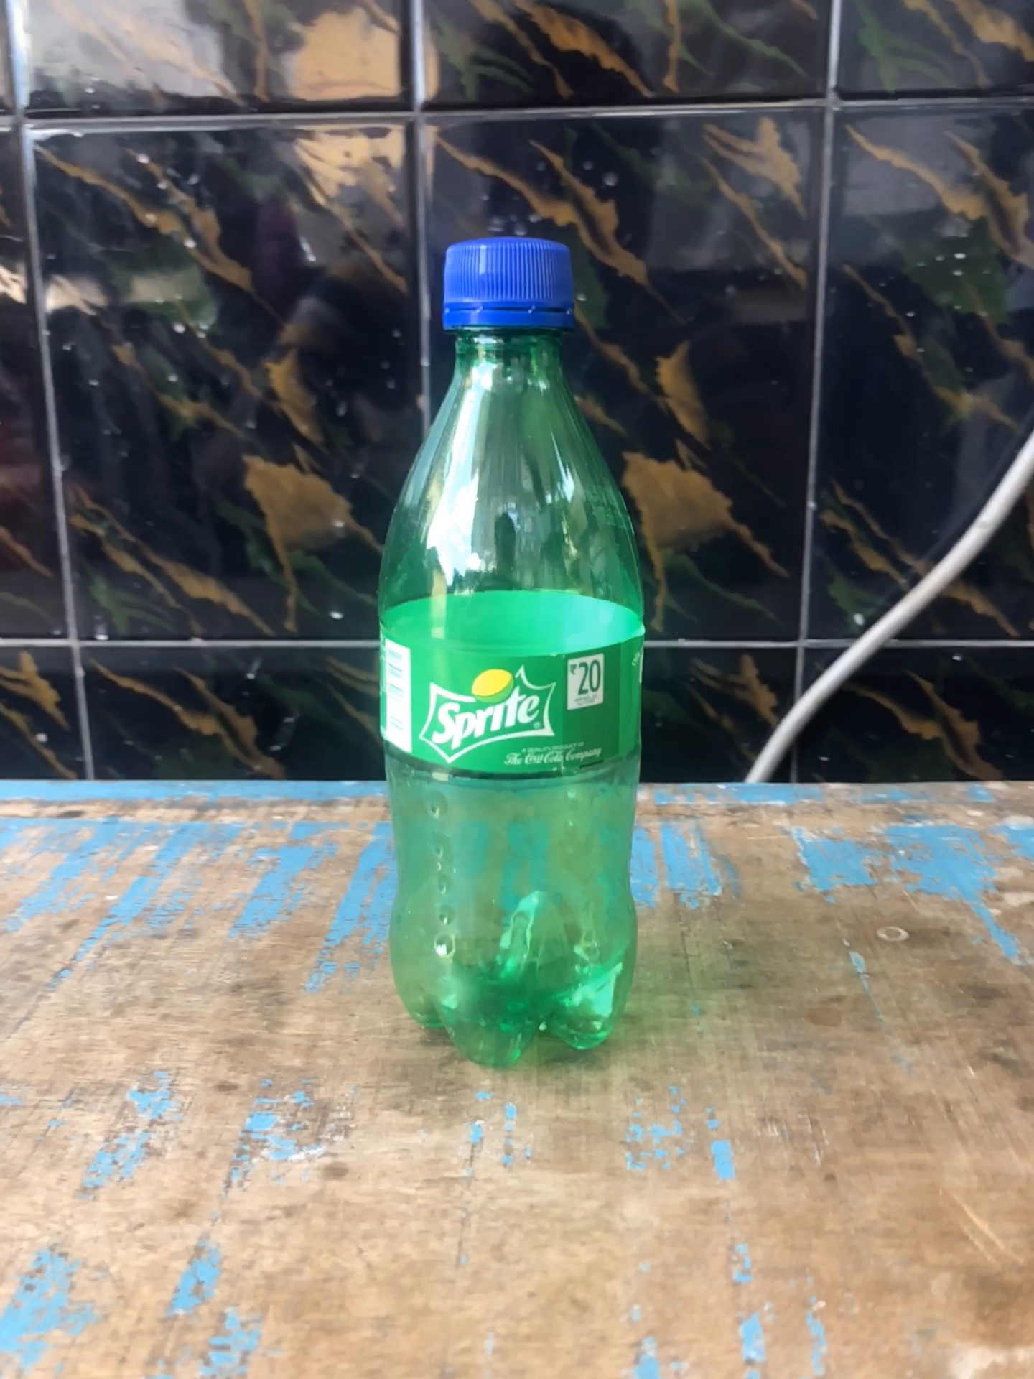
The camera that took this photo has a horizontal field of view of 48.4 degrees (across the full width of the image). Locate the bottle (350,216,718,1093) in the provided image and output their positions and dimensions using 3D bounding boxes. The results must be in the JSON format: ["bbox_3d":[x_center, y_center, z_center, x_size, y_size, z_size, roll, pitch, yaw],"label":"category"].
[{"bbox_3d":[0.007,-0.006,0.233,0.060,0.159,0.050,2,15,11],"label":"bottle"}]
